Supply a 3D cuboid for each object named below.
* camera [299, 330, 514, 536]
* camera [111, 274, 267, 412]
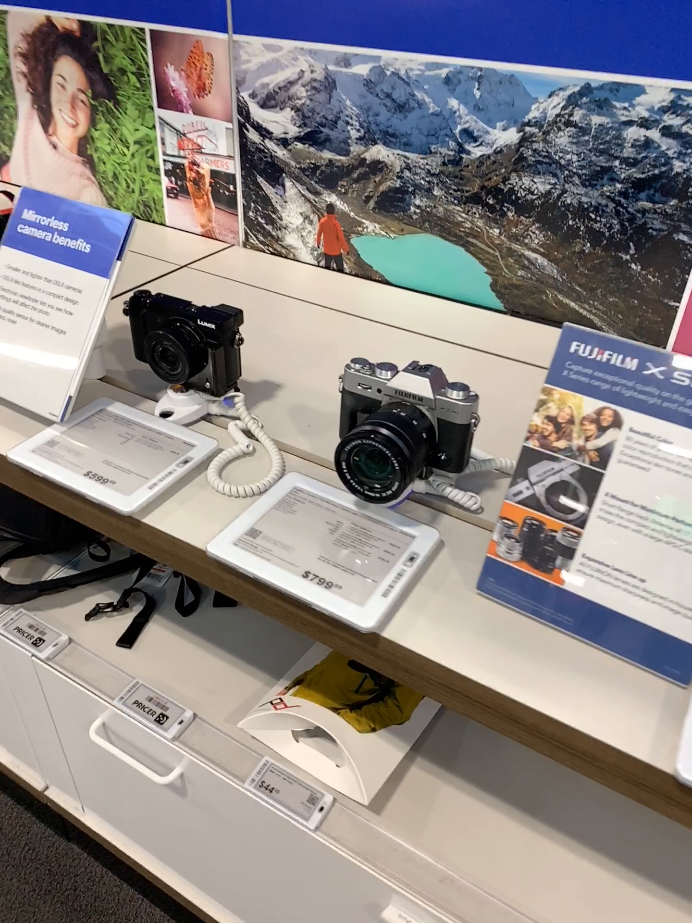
[{"bbox_3d":[0.047,-0.028,0.548,0.120,0.079,0.120,20,40,22],"label":"camera"},{"bbox_3d":[-0.145,-0.114,0.665,0.120,0.079,0.070,20,40,23],"label":"camera"}]
